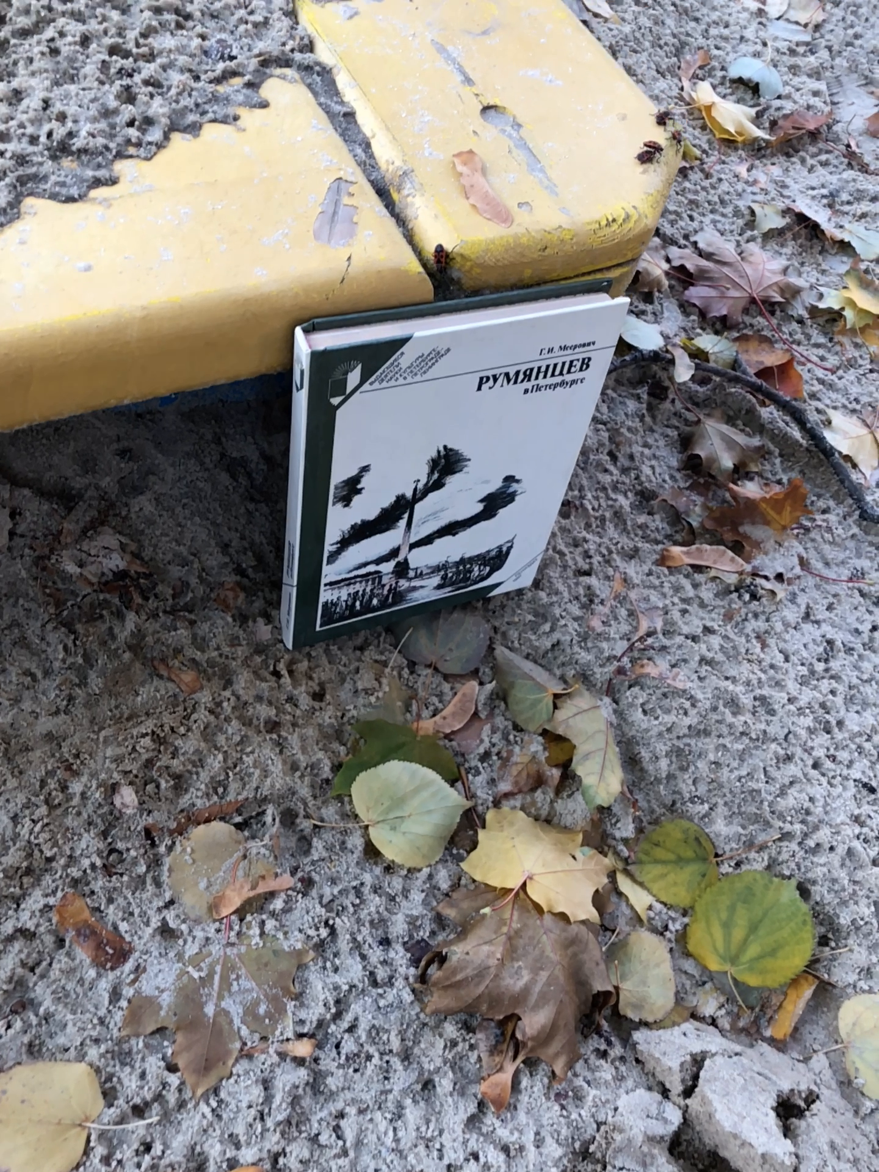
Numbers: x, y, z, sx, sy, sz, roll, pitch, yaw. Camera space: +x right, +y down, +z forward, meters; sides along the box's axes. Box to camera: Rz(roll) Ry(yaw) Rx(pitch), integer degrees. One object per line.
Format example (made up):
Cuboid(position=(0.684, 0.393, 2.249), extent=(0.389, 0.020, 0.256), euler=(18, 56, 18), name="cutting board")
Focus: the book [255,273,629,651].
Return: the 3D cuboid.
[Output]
Cuboid(position=(0.000, -0.047, 0.413), extent=(0.140, 0.155, 0.020), euler=(-13, 47, -16), name="book")
